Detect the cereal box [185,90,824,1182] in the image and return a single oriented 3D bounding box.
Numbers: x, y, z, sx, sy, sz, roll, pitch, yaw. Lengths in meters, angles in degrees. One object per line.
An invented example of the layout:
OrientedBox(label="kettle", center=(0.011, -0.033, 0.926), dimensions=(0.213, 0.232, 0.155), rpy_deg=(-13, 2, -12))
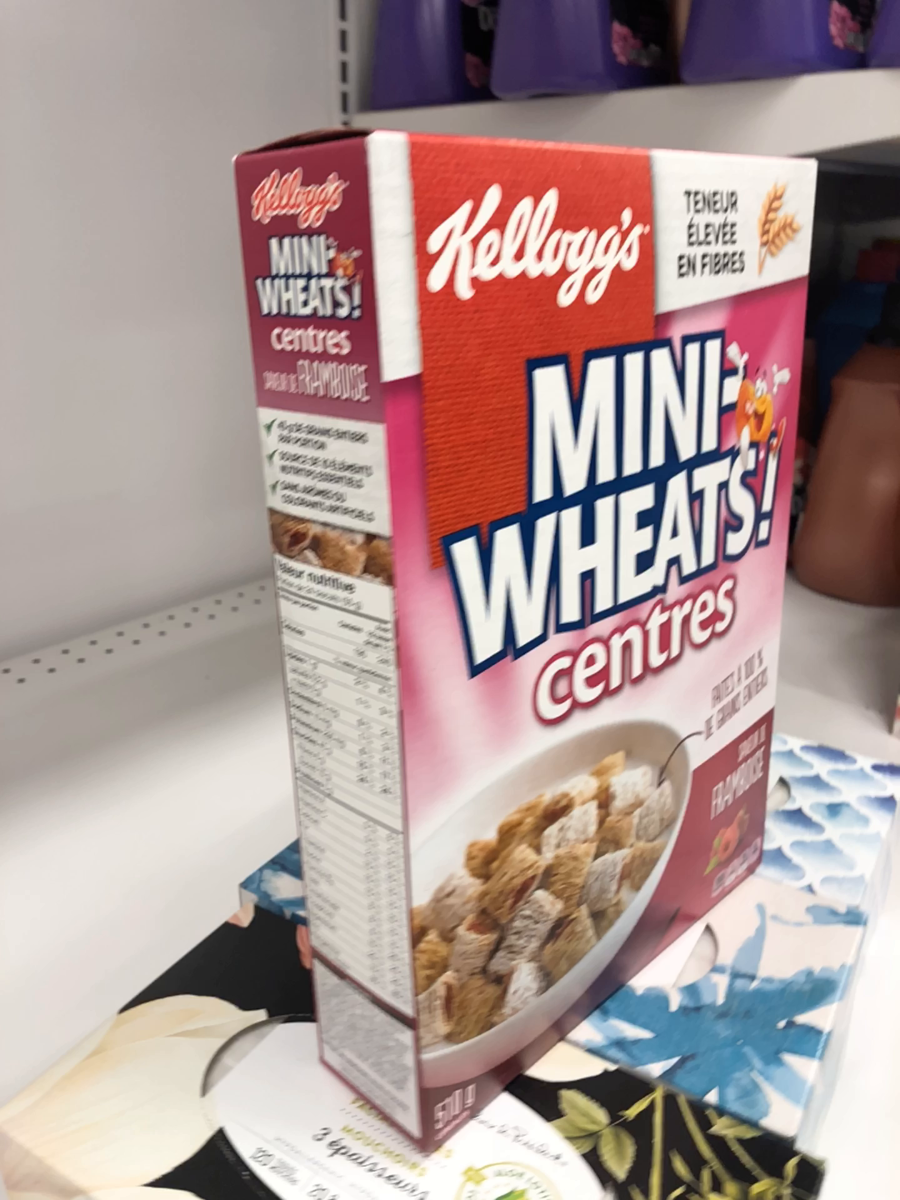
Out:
OrientedBox(label="cereal box", center=(0.037, -0.001, 0.320), dimensions=(0.050, 0.269, 0.210), rpy_deg=(15, 25, 42))
